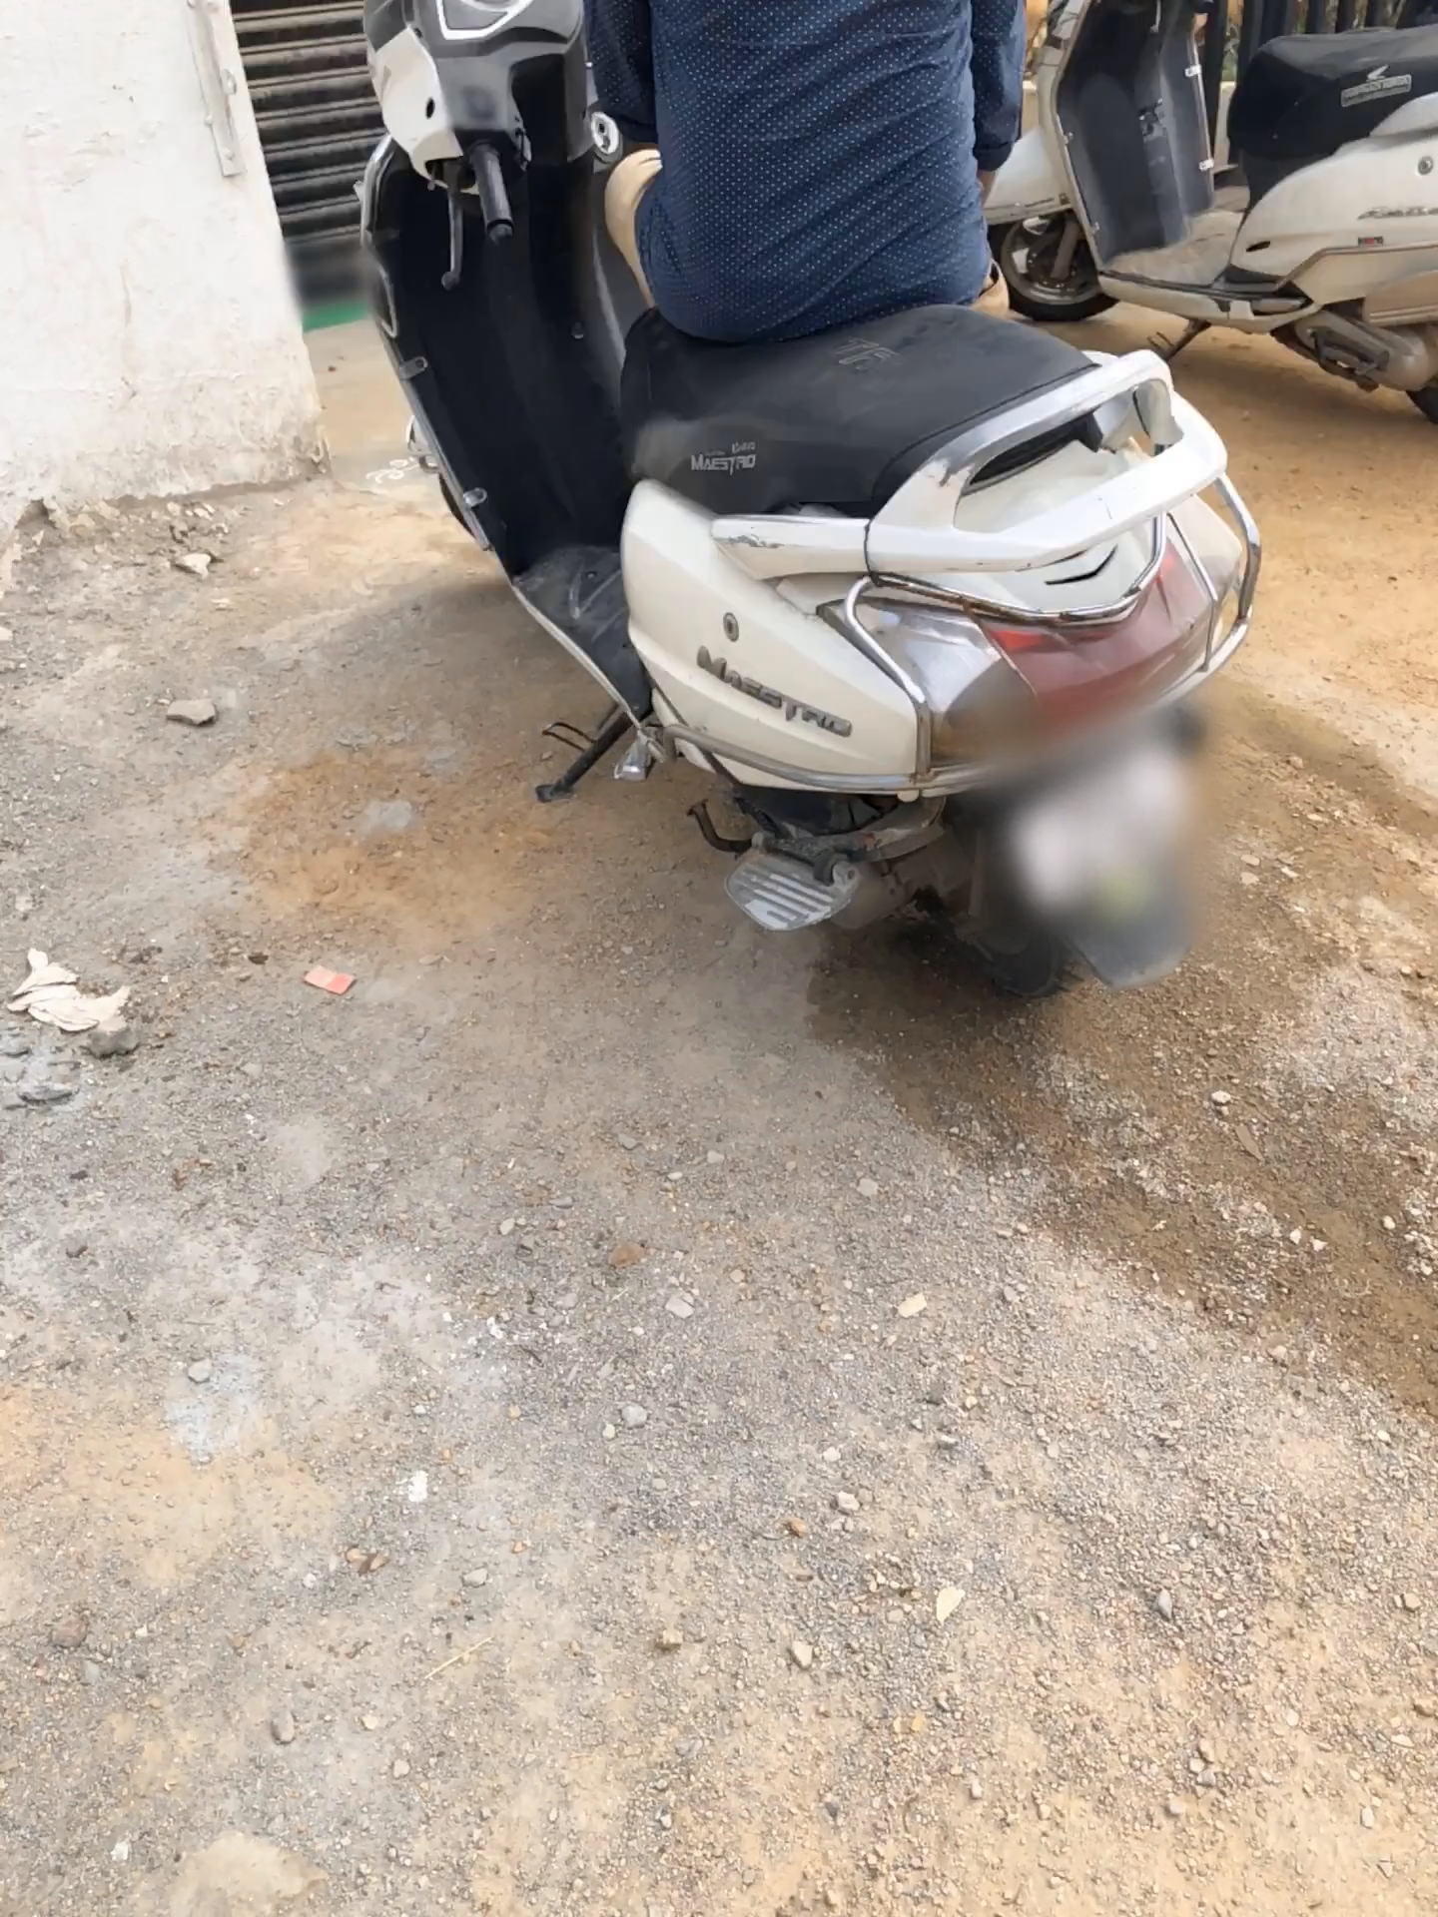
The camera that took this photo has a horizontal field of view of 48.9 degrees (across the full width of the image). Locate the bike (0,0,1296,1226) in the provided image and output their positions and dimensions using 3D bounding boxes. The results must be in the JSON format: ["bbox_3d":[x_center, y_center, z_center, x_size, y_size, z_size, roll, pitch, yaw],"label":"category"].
[{"bbox_3d":[-0.204,-0.748,1.972,0.602,1.231,1.558,-23,43,-26],"label":"bike"}]
